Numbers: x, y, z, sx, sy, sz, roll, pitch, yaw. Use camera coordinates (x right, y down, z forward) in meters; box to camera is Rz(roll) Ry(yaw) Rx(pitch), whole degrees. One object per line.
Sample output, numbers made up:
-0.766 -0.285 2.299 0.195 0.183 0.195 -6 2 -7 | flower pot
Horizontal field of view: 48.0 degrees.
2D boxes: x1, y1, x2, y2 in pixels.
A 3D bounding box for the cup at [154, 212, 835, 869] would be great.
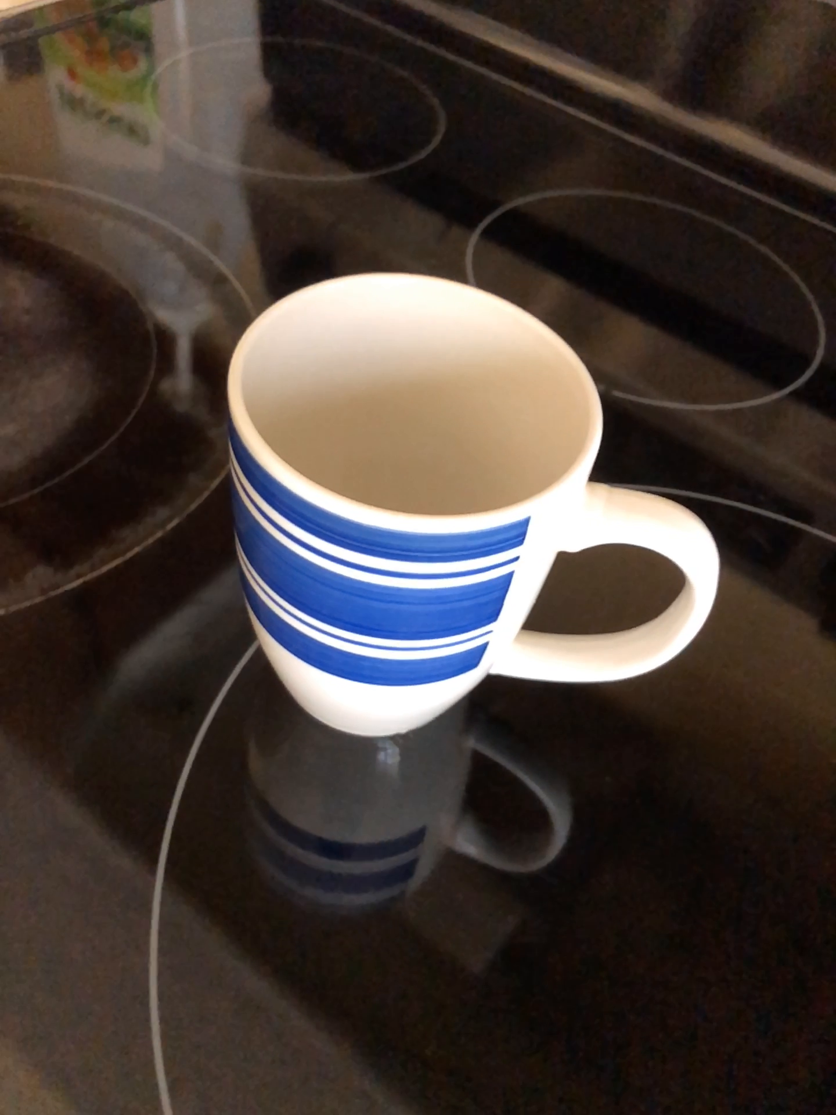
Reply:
0.018 -0.003 0.214 0.120 0.090 0.080 17 49 5 | cup
